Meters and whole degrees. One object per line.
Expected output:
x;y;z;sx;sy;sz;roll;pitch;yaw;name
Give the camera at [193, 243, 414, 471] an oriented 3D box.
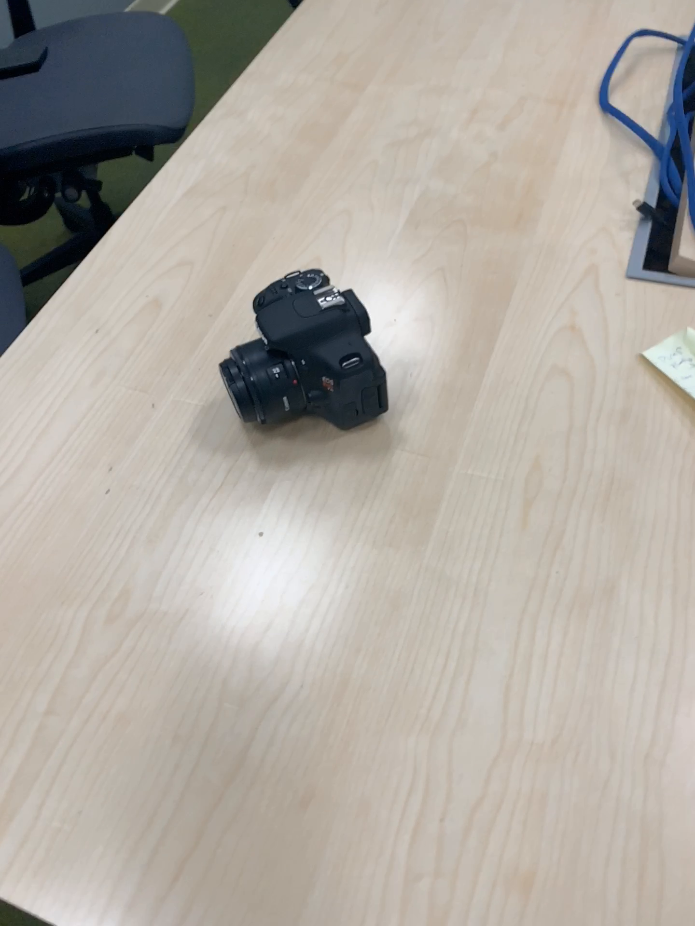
-0.036;-0.092;0.600;0.131;0.080;0.141;-24;55;-11;camera
